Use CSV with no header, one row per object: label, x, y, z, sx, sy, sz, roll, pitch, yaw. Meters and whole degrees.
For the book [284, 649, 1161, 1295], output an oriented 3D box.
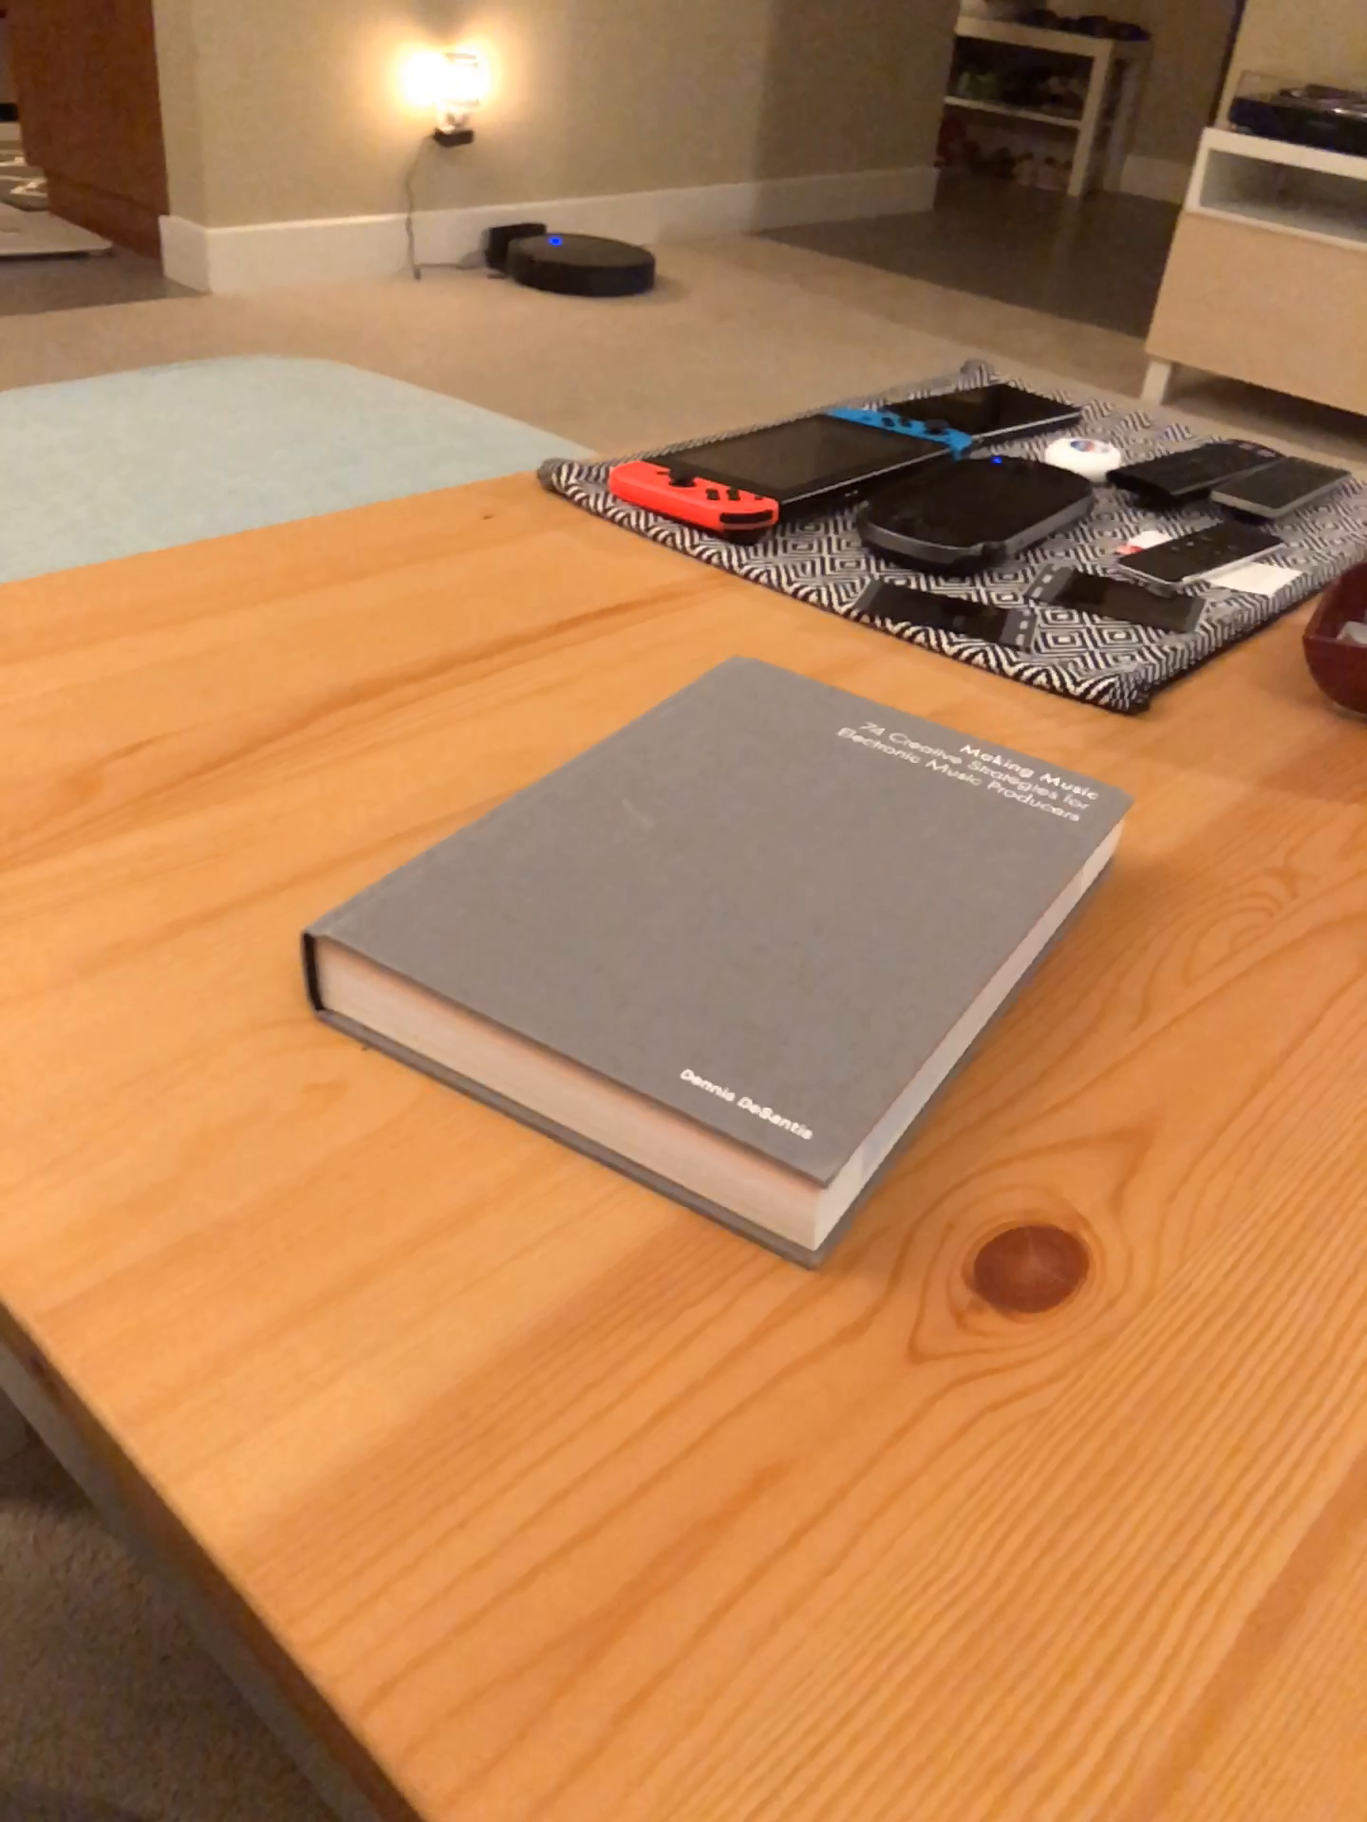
book,0.024,-0.005,0.453,0.167,0.030,0.228,24,38,24
